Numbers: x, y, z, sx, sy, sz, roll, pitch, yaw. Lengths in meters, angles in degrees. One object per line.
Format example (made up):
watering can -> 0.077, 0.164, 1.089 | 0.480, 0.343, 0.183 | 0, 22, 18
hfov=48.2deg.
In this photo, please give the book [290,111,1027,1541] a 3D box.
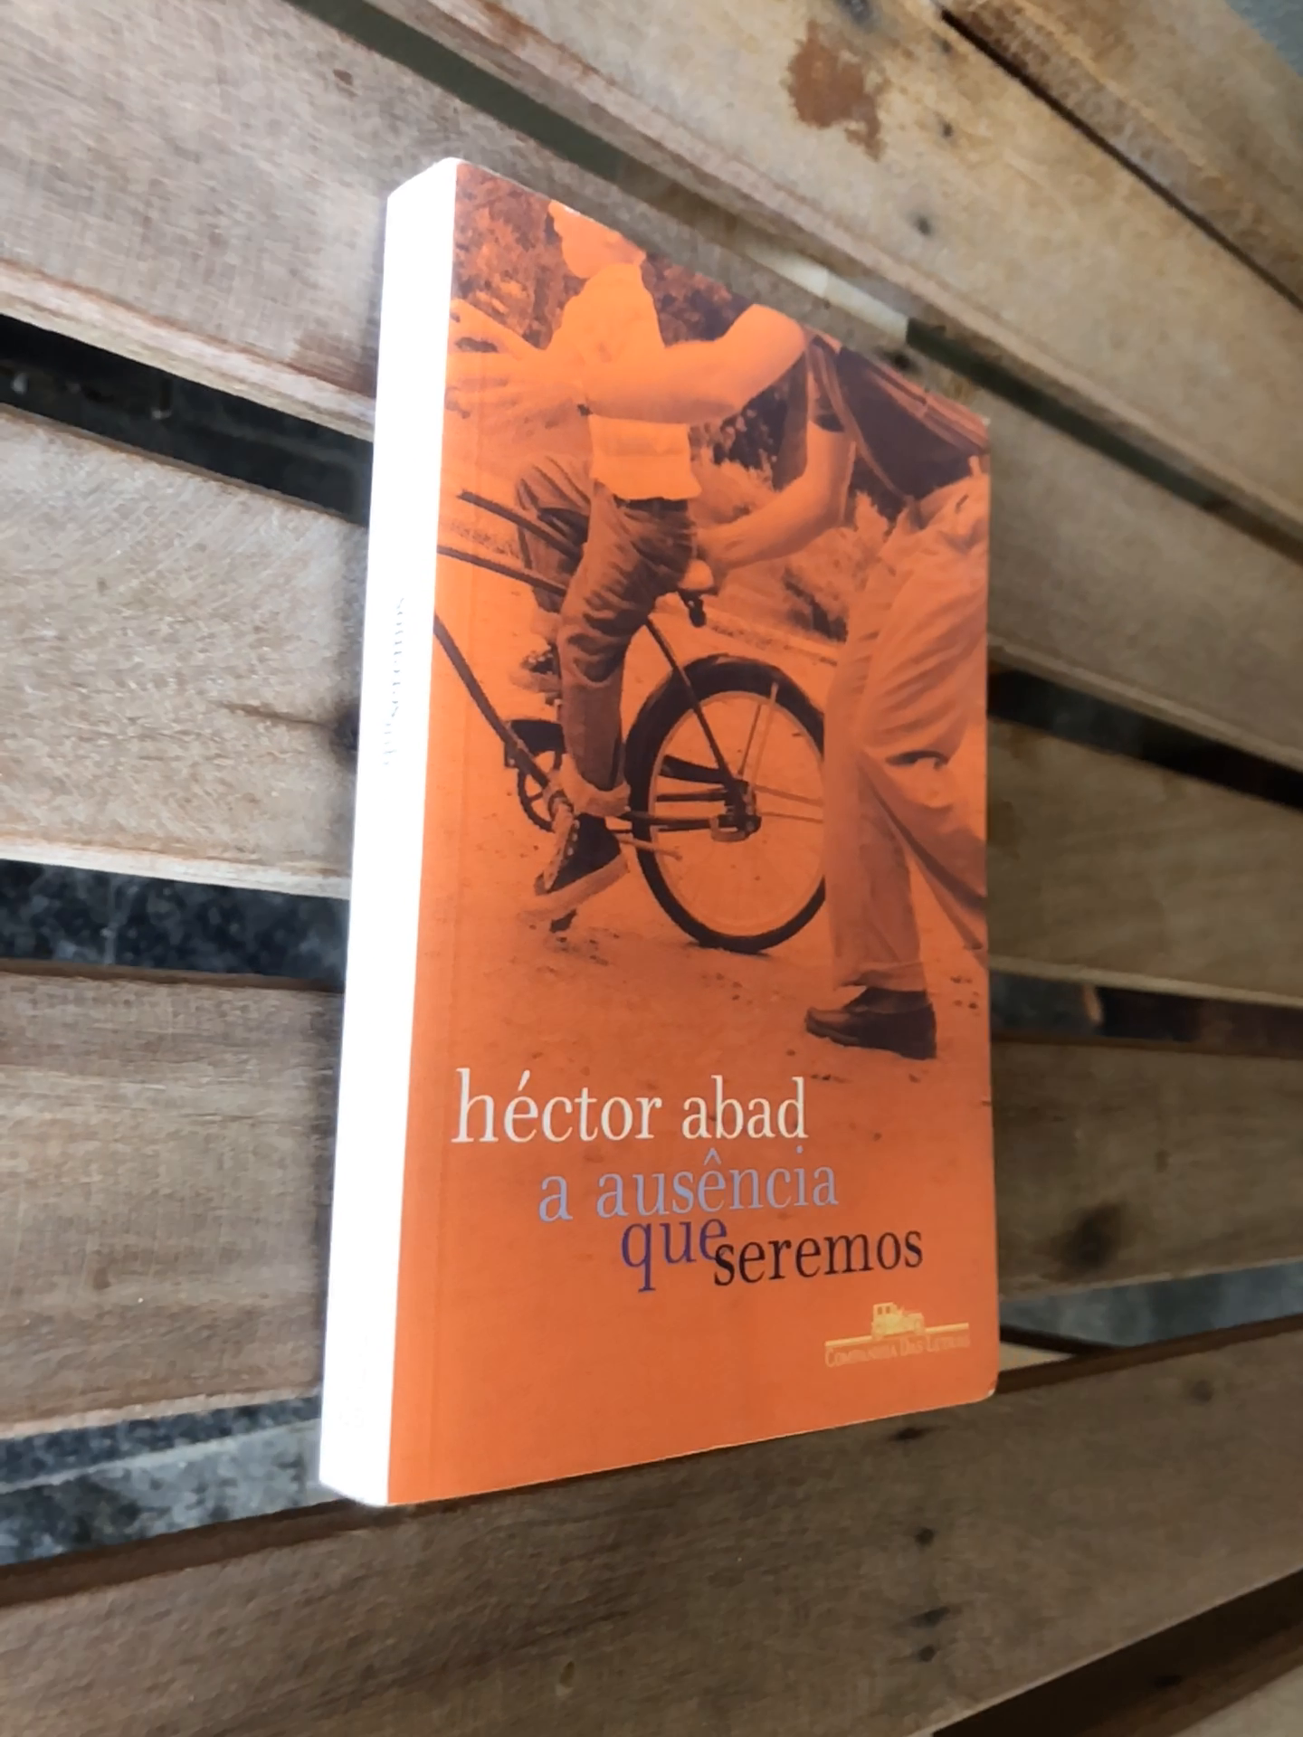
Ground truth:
book -> 0.014, -0.004, 0.254 | 0.143, 0.020, 0.200 | 8, 80, -40
